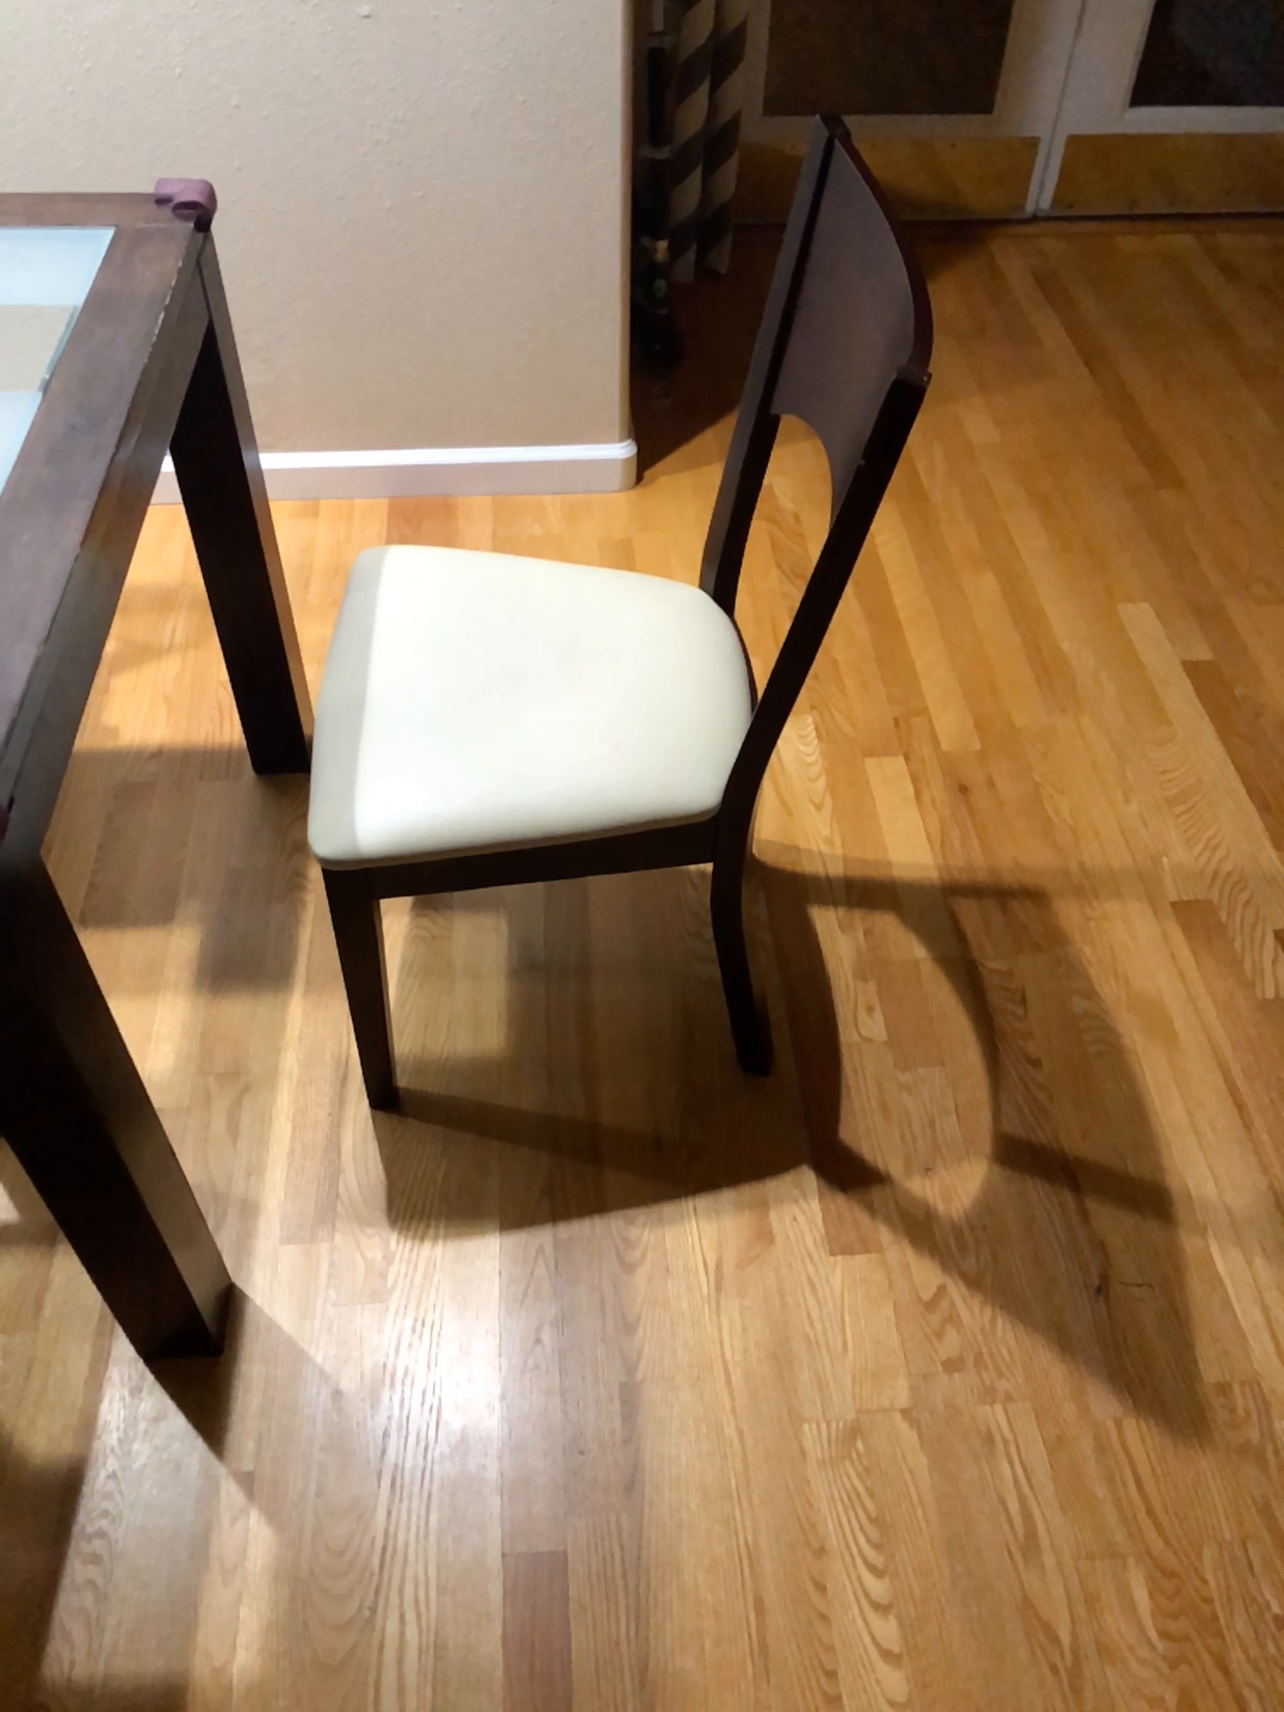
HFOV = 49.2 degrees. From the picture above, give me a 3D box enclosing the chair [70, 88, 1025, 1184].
[{"bbox_3d":[-0.090,-0.166,1.477,0.640,1.005,0.503,-5,47,-5],"label":"chair"}]
